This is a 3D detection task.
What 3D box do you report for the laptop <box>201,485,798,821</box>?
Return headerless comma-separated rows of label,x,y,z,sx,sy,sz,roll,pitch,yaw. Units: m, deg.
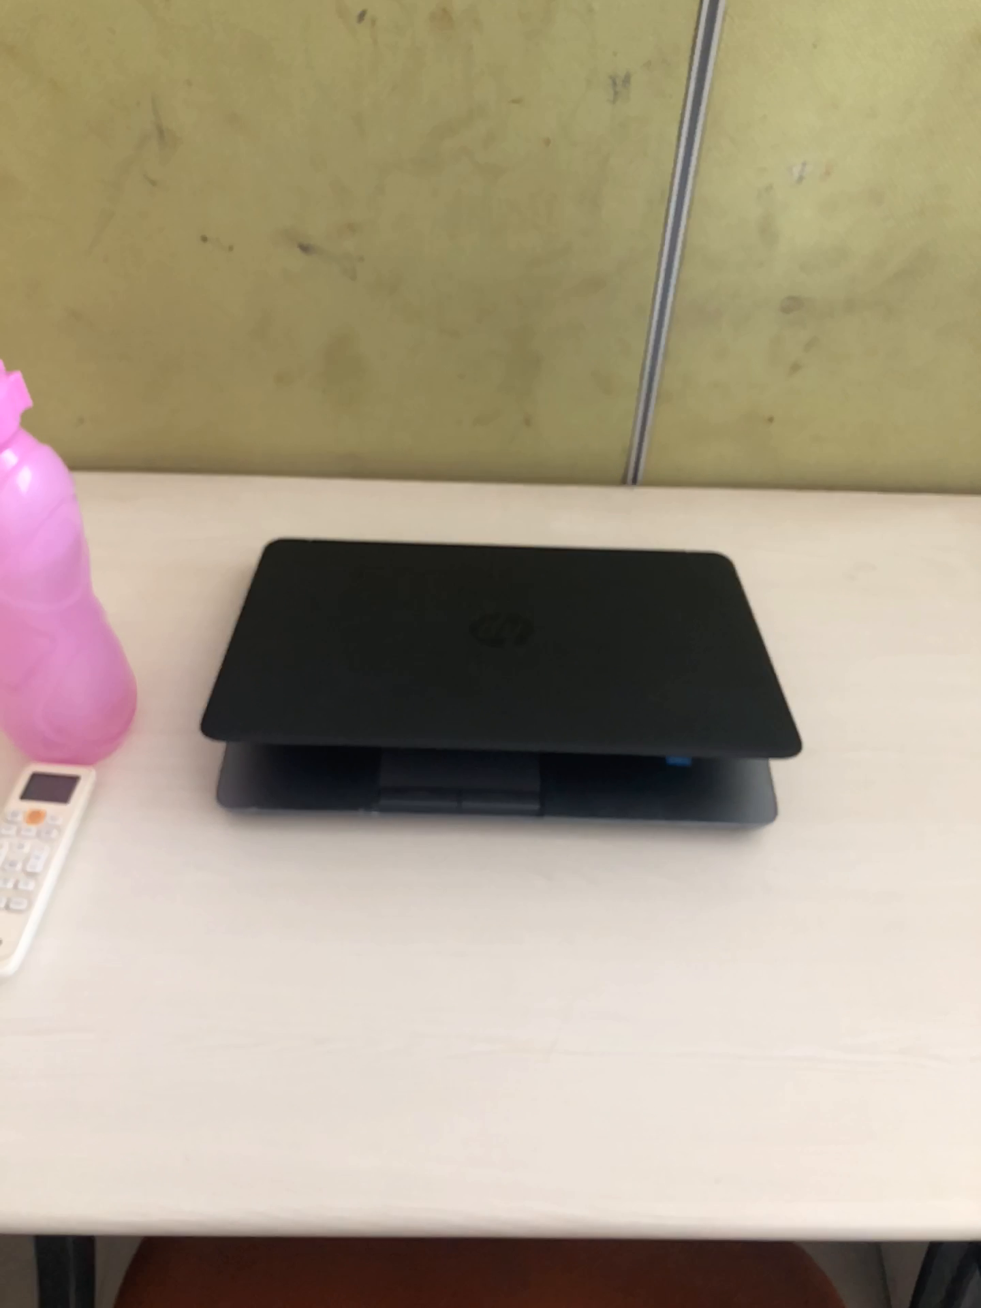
laptop,0.009,-0.009,0.698,0.330,0.050,0.227,2,48,0
